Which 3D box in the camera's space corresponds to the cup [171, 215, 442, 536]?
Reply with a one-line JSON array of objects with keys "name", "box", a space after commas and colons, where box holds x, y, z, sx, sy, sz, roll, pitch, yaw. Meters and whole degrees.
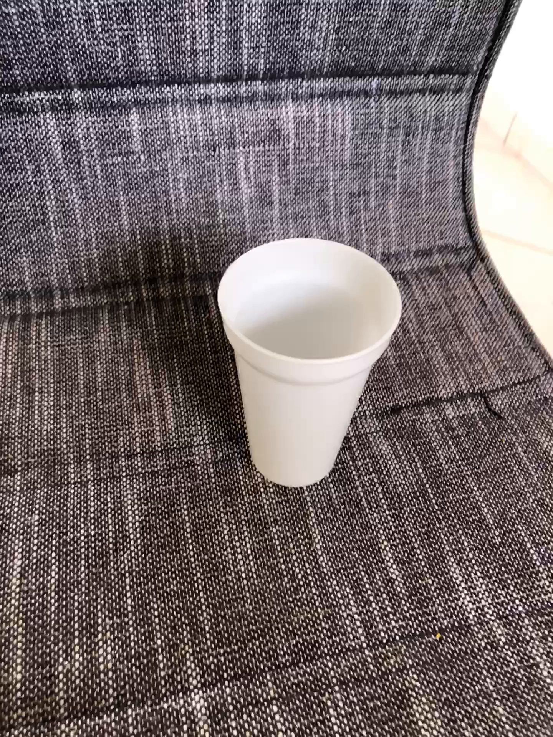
[{"name": "cup", "box": [0.009, 0.005, 0.297, 0.080, 0.109, 0.080, 3, 52, -3]}]
